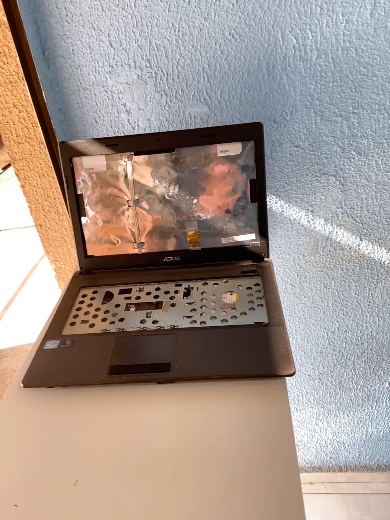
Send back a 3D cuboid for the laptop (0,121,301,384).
[{"bbox_3d":[-0.056,-0.031,0.569,0.336,0.202,0.329,-4,34,5],"label":"laptop"}]
